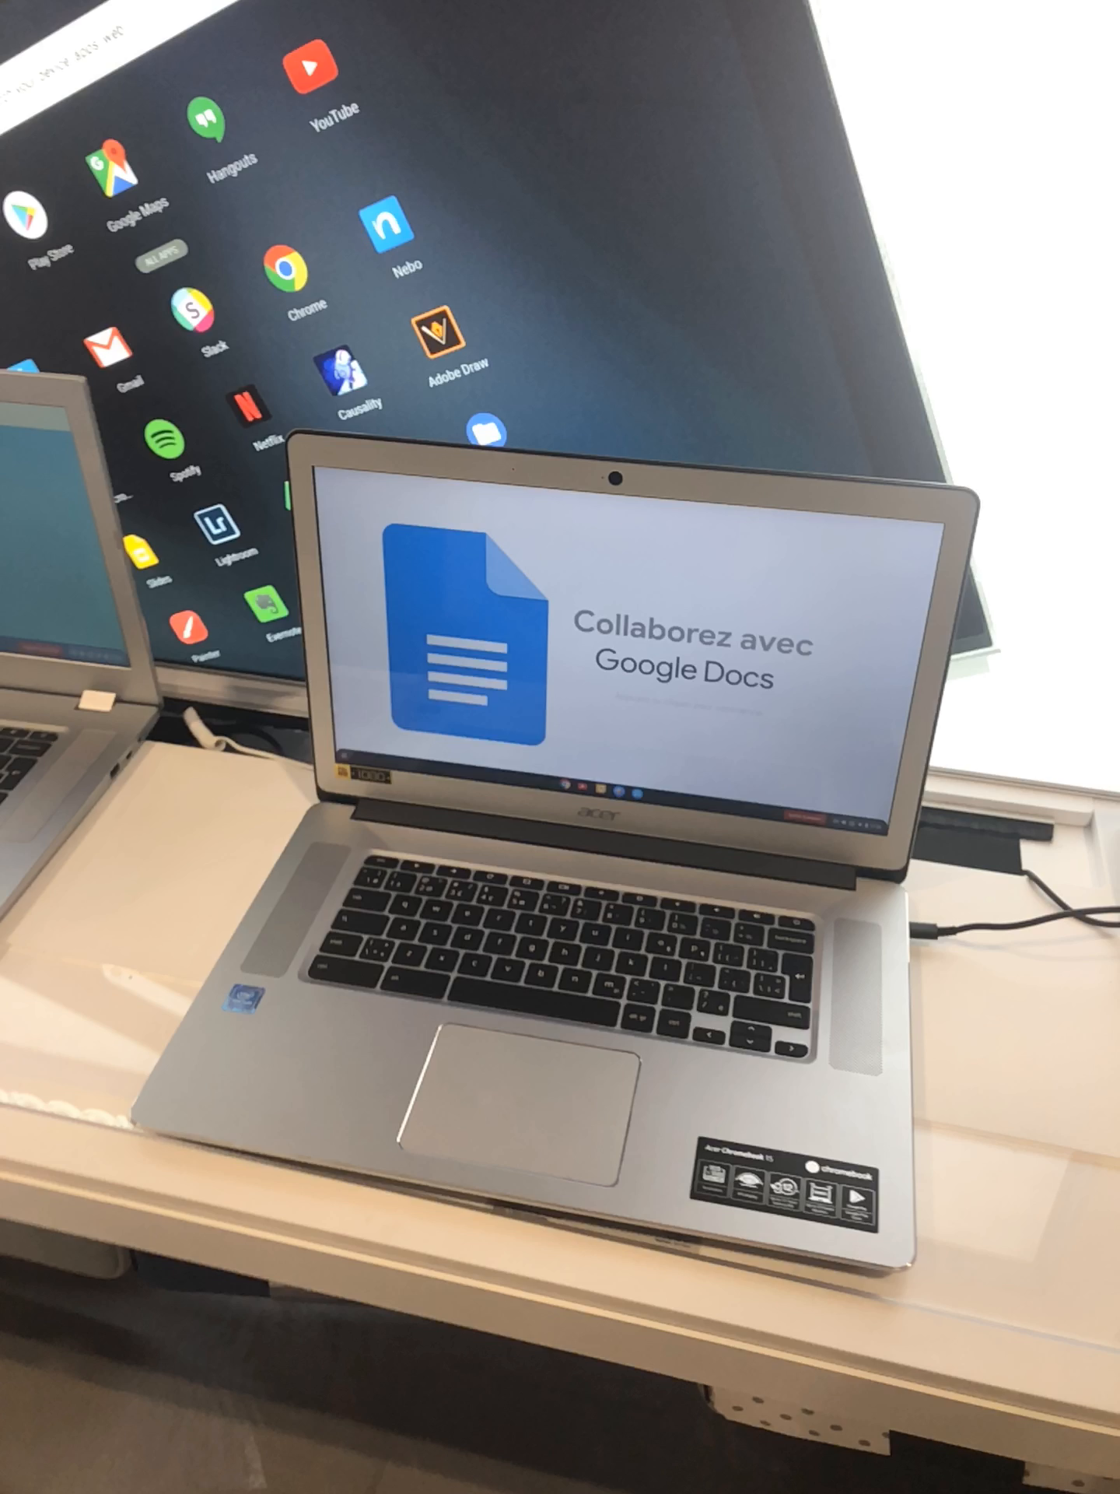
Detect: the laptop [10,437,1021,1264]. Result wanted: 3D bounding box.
[{"bbox_3d":[0.000,0.030,0.625,0.371,0.243,0.283,7,38,9],"label":"laptop"}]
